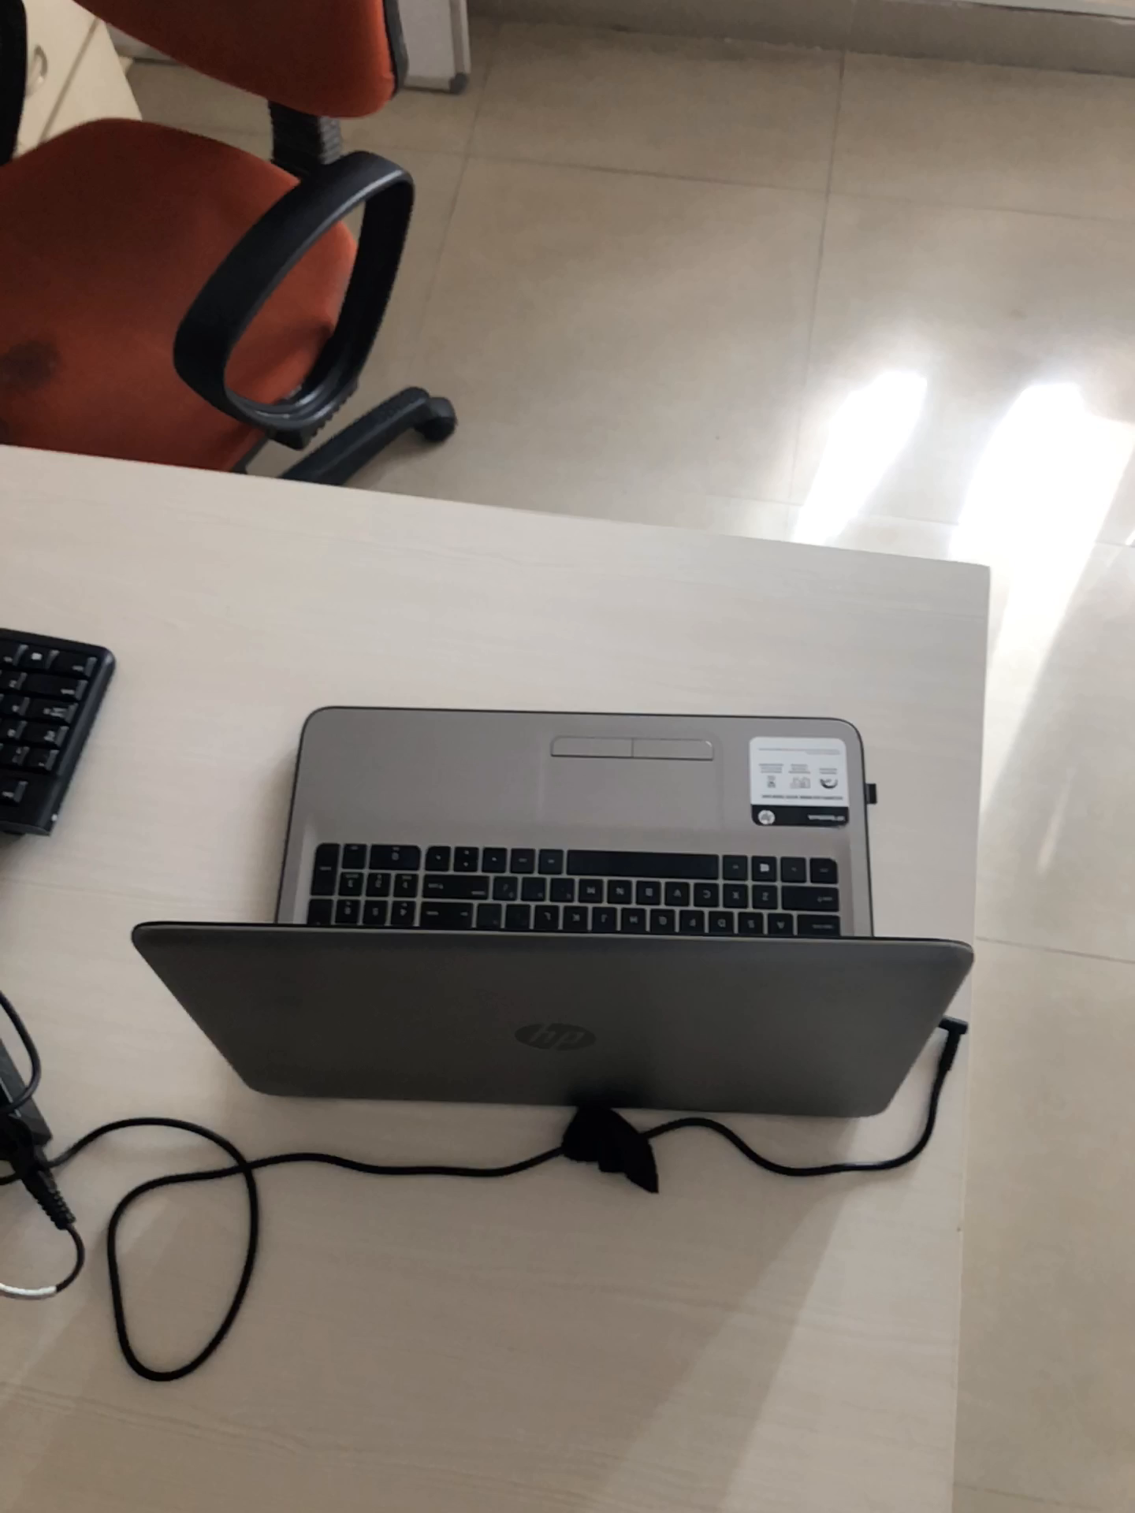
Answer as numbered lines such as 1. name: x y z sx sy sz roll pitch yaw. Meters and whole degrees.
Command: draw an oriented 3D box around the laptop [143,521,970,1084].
1. laptop: -0.001 0.037 0.666 0.350 0.227 0.216 2 70 4
